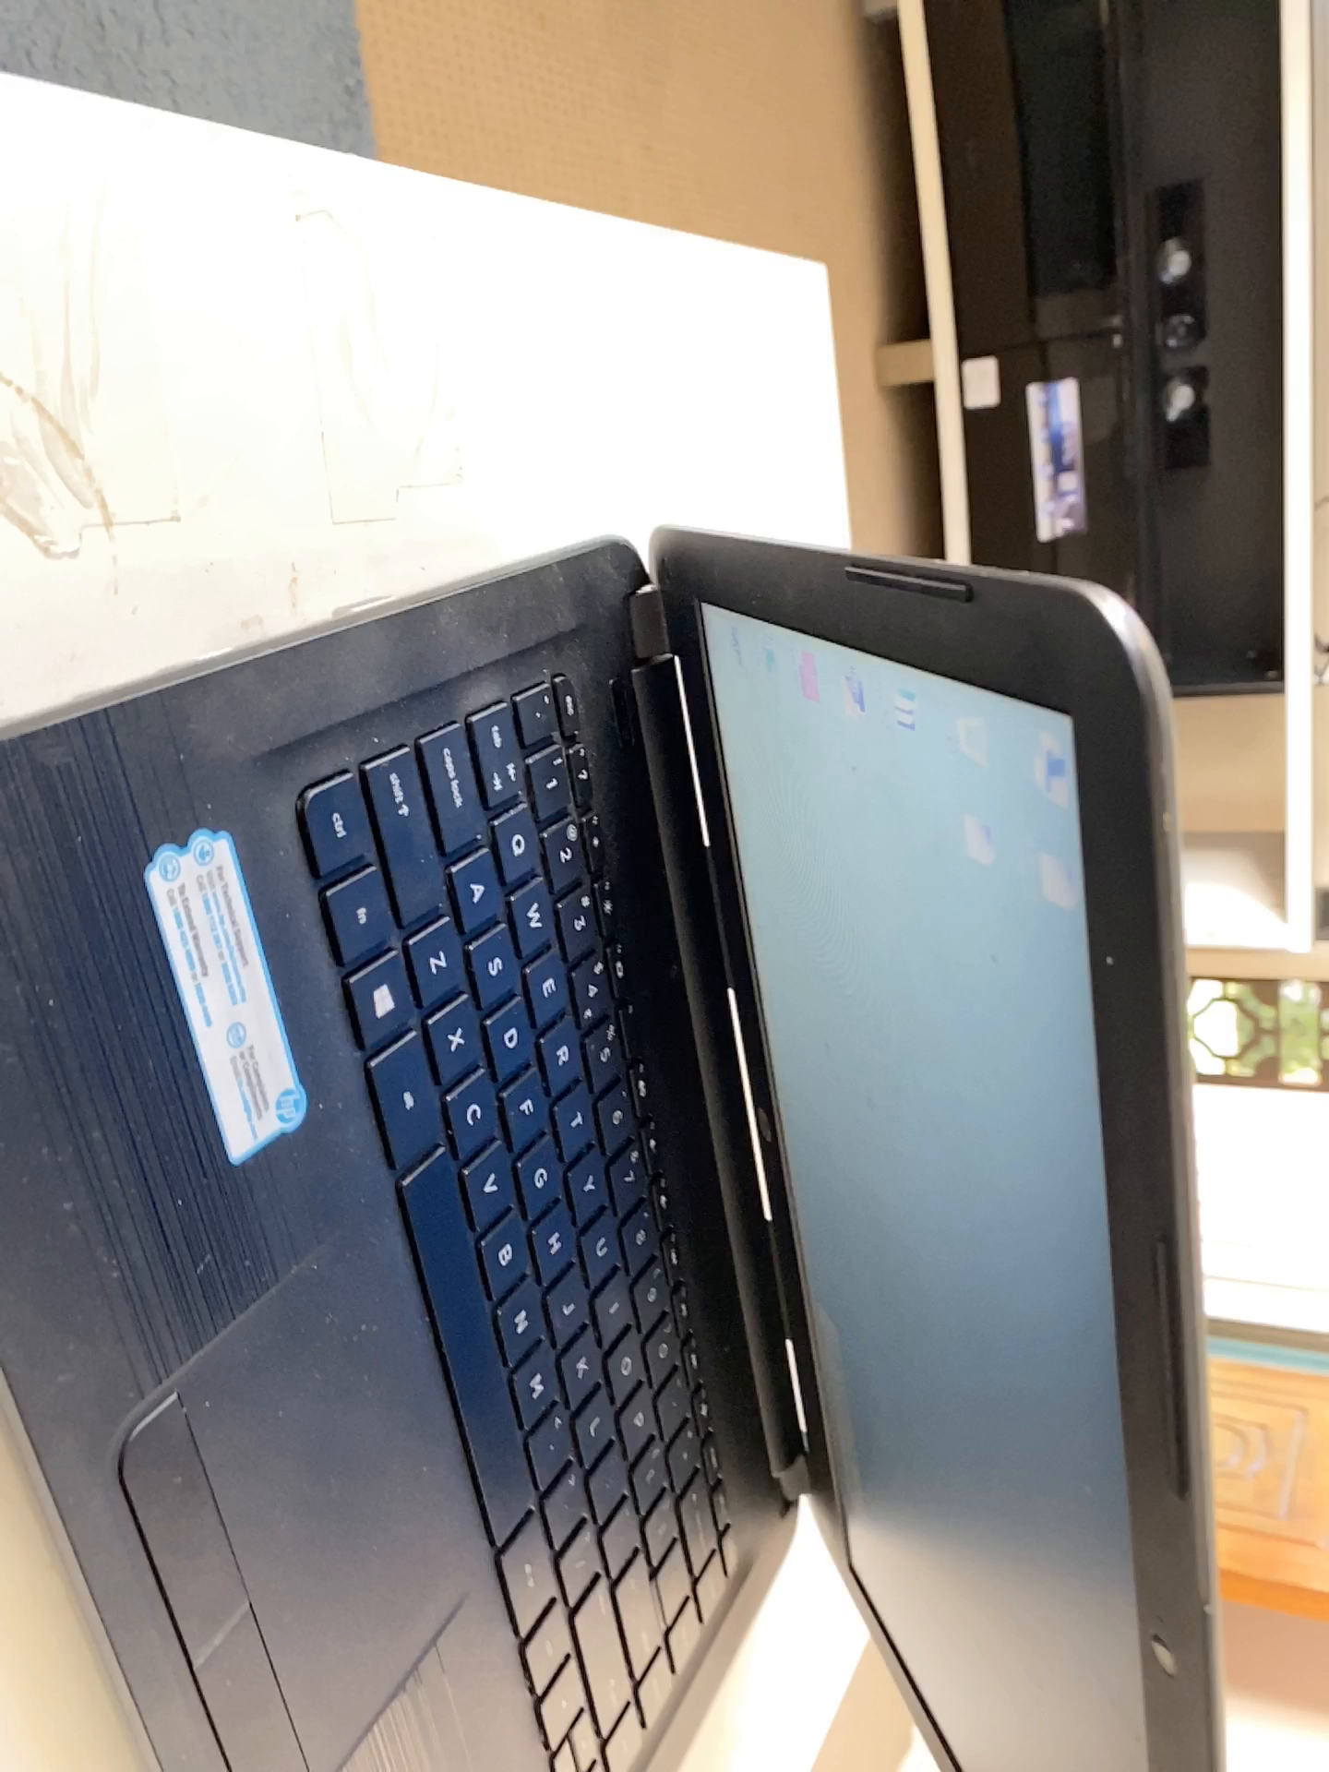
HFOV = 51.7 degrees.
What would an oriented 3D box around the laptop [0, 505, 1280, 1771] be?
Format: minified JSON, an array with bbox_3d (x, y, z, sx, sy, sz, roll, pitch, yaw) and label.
[{"bbox_3d":[0.035,0.112,0.298,0.226,0.154,0.336,-37,122,-56],"label":"laptop"}]
